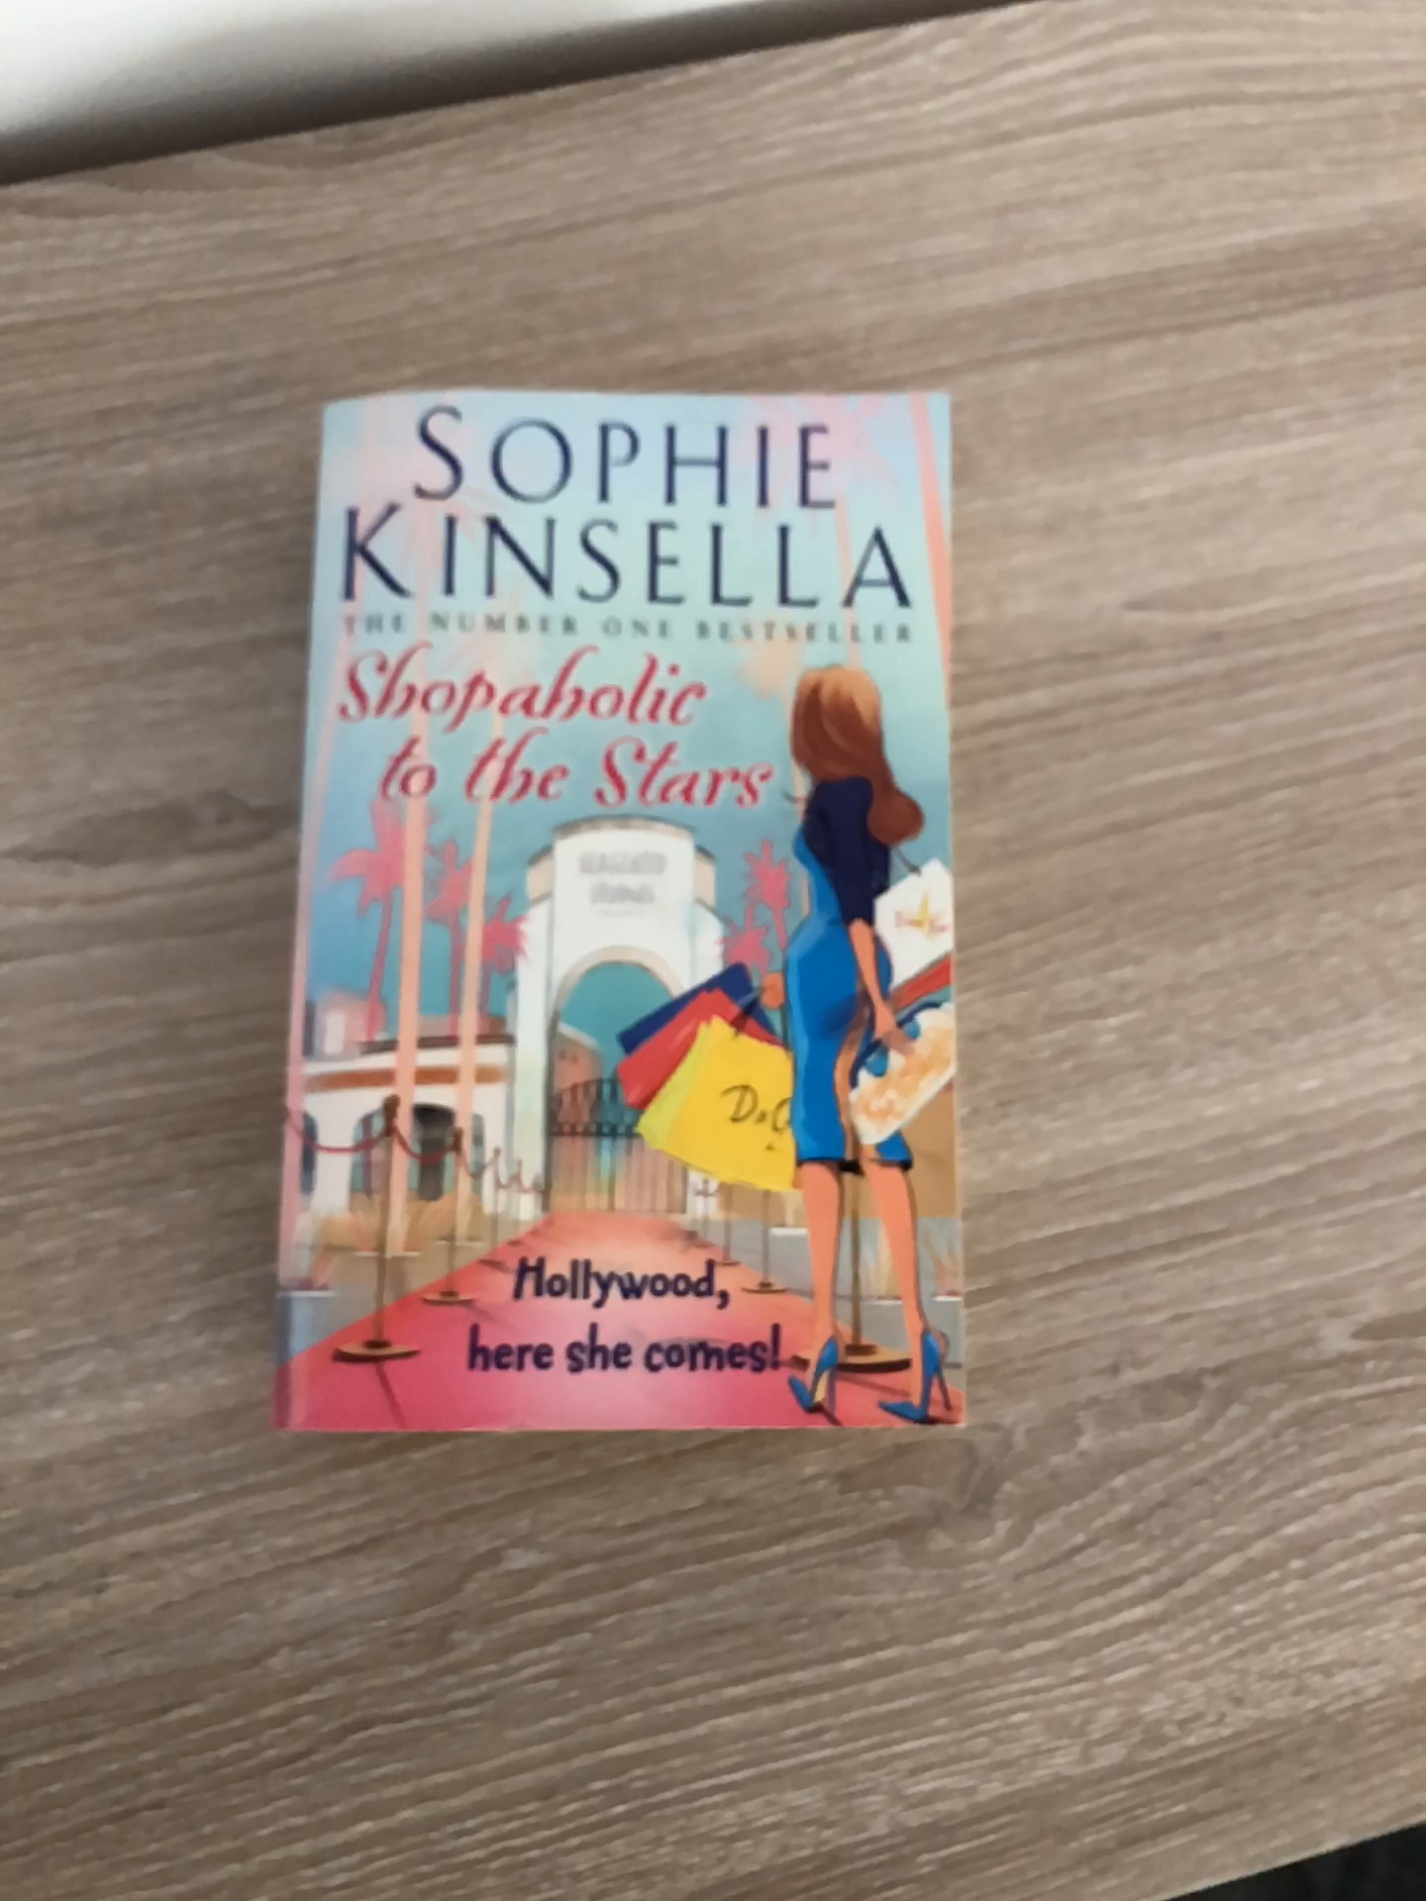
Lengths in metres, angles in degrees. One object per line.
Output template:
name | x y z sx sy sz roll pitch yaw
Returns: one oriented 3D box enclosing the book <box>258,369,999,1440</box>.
book | -0.015 -0.010 0.316 0.130 0.040 0.200 1 81 -3
